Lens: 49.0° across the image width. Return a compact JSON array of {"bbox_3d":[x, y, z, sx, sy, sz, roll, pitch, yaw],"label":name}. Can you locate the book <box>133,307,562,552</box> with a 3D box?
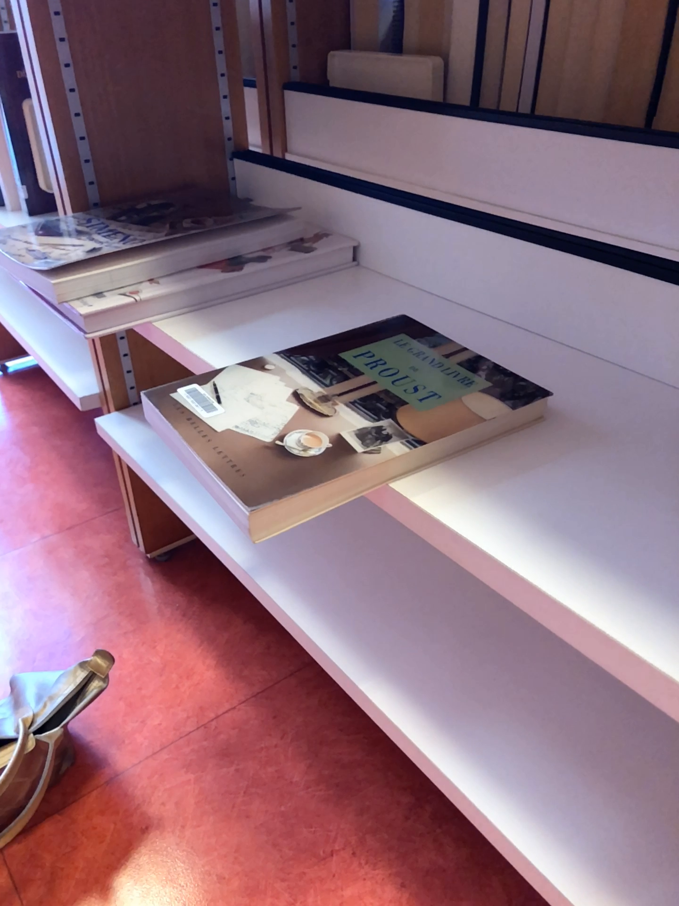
[{"bbox_3d":[0.002,-0.035,0.534,0.245,0.030,0.180,-20,36,-24],"label":"book"}]
